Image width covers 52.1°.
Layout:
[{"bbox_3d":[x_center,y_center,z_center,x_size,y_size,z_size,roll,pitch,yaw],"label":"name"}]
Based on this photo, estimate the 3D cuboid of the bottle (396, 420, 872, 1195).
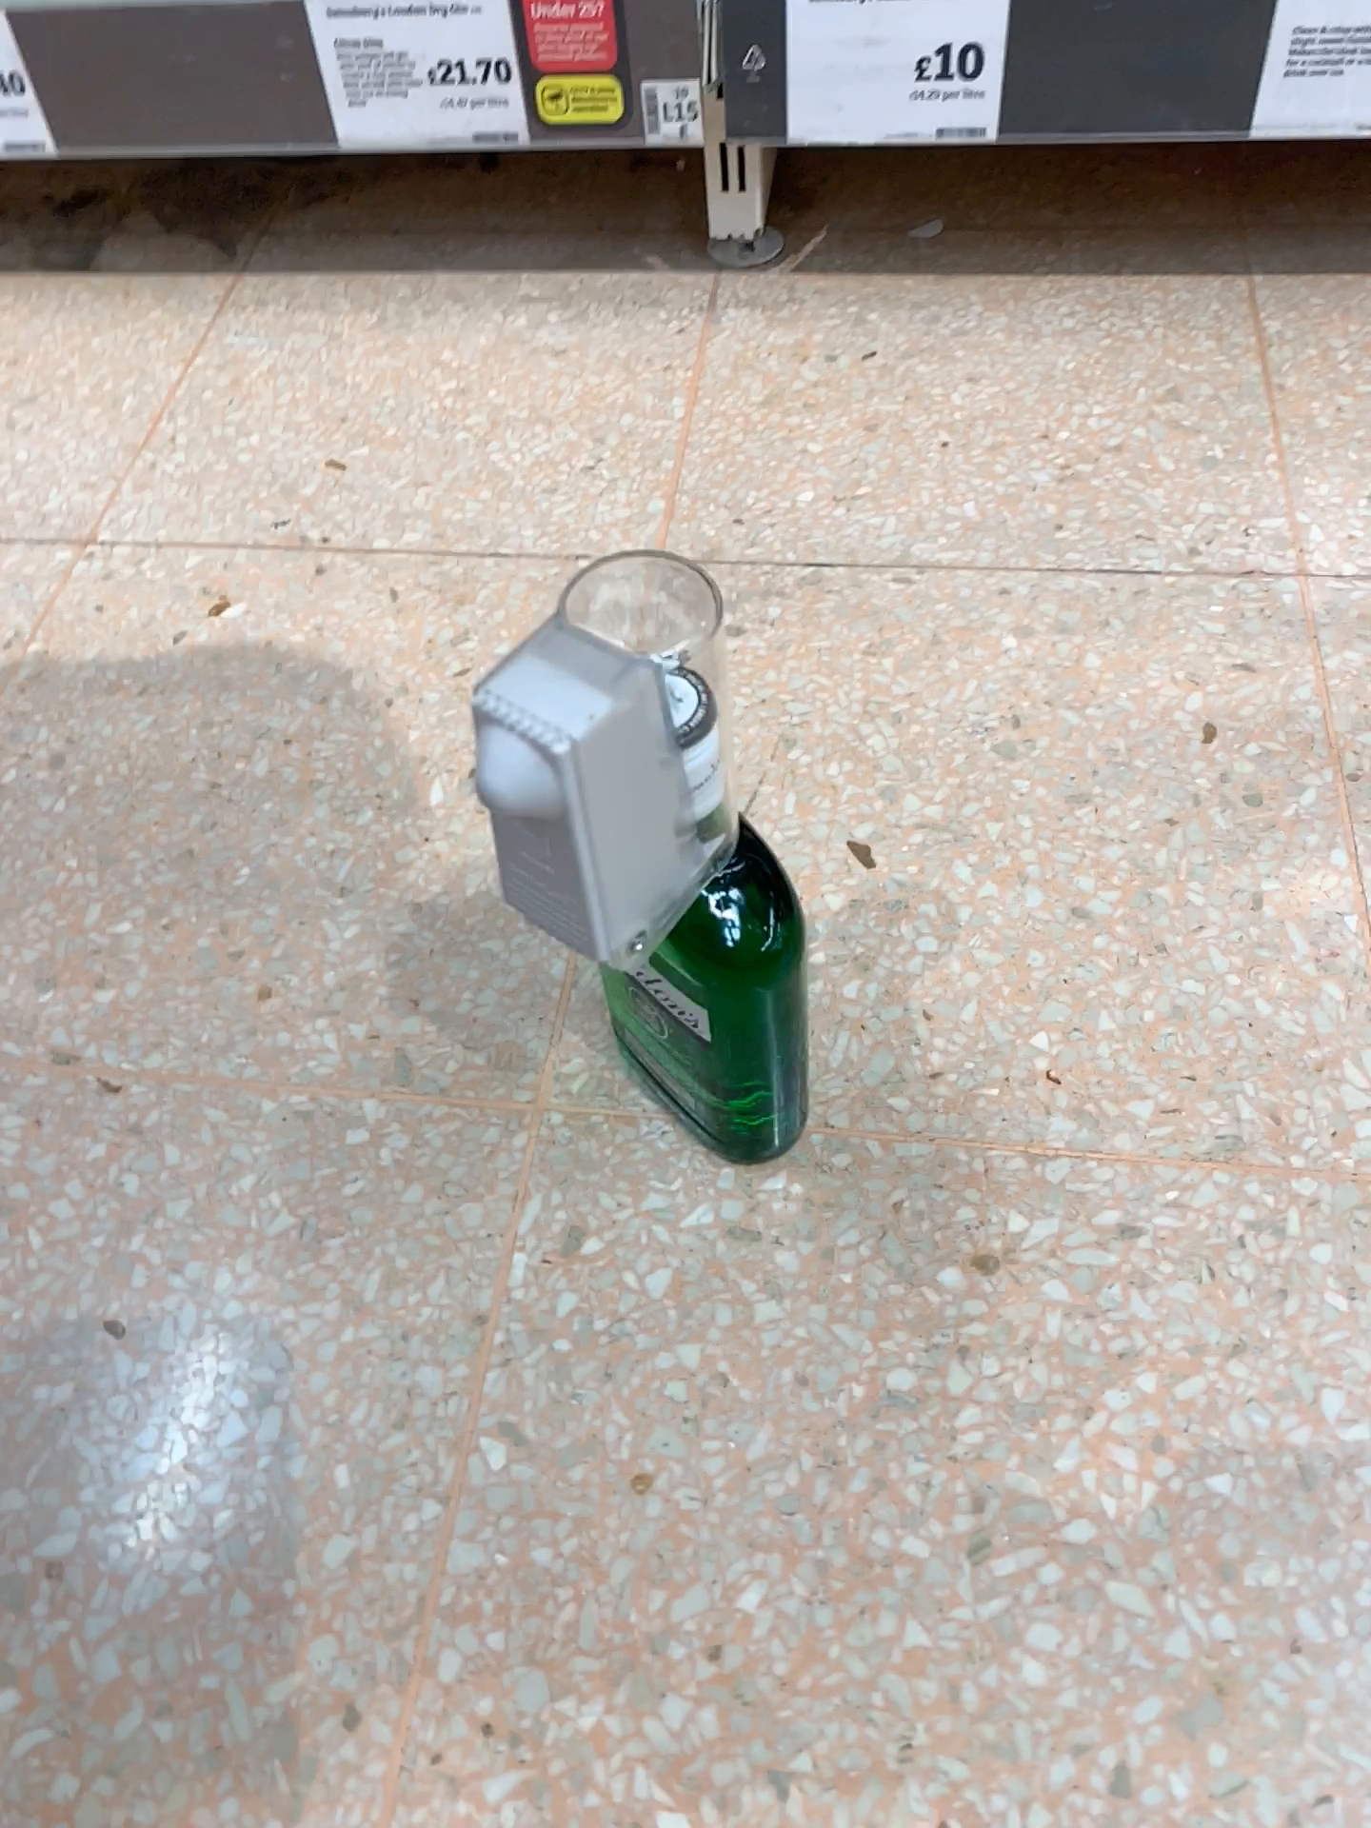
[{"bbox_3d":[-0.006,-0.017,0.394,0.055,0.203,0.103,-35,58,-19],"label":"bottle"}]
